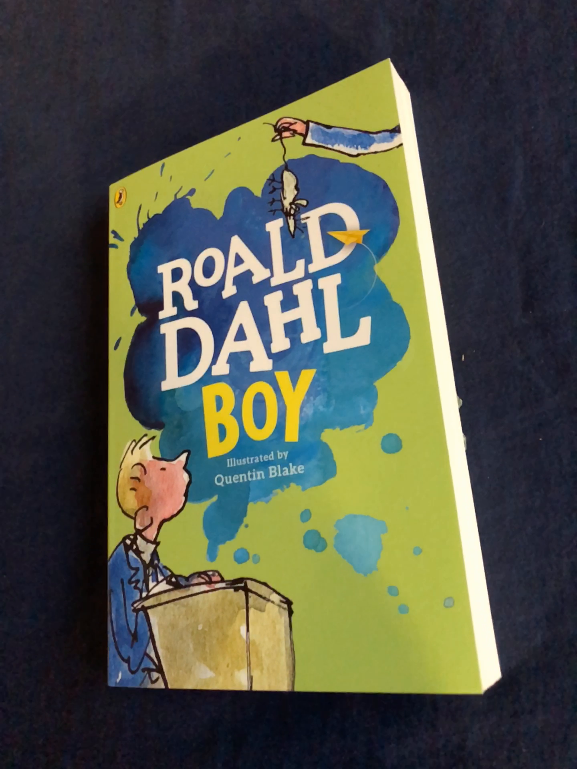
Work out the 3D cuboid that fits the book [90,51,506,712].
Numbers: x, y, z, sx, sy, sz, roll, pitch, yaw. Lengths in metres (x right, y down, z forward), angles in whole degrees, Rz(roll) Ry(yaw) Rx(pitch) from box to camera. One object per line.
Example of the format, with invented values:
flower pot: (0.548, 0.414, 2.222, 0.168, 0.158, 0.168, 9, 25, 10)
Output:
book: (-0.009, 0.001, 0.216, 0.126, 0.027, 0.189, -11, 75, 26)
